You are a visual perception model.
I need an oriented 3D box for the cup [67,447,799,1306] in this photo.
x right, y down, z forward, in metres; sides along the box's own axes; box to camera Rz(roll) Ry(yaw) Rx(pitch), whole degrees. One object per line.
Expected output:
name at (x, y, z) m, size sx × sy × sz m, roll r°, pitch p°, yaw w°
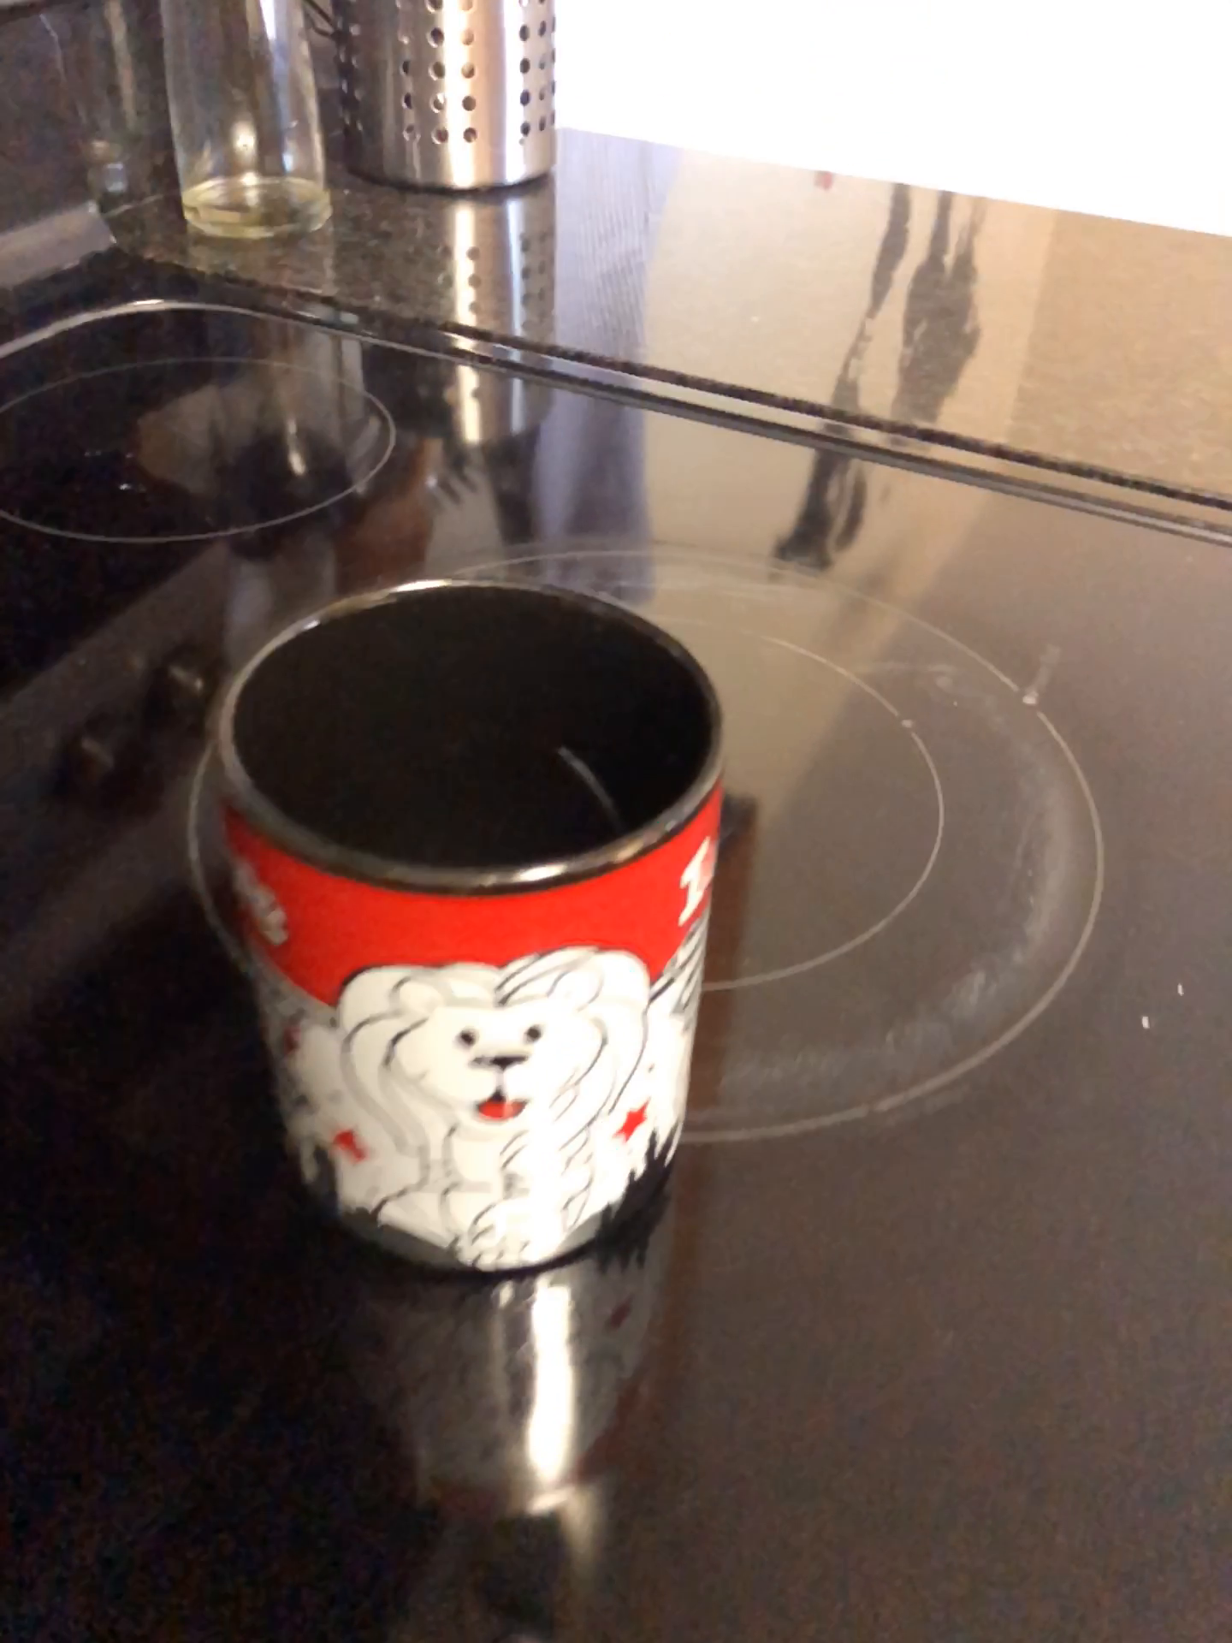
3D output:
cup at (-0.026, 0.004, 0.248) m, size 0.090 × 0.090 × 0.131 m, roll 1°, pitch 40°, yaw -3°
